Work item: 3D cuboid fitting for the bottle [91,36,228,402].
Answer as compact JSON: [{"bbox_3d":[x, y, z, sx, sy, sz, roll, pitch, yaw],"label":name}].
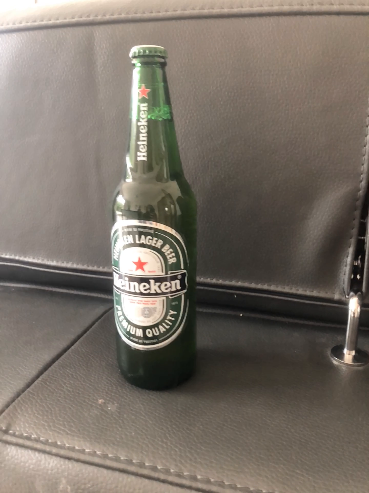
[{"bbox_3d":[-0.015,-0.017,0.341,0.080,0.269,0.080,0,16,0],"label":"bottle"}]
